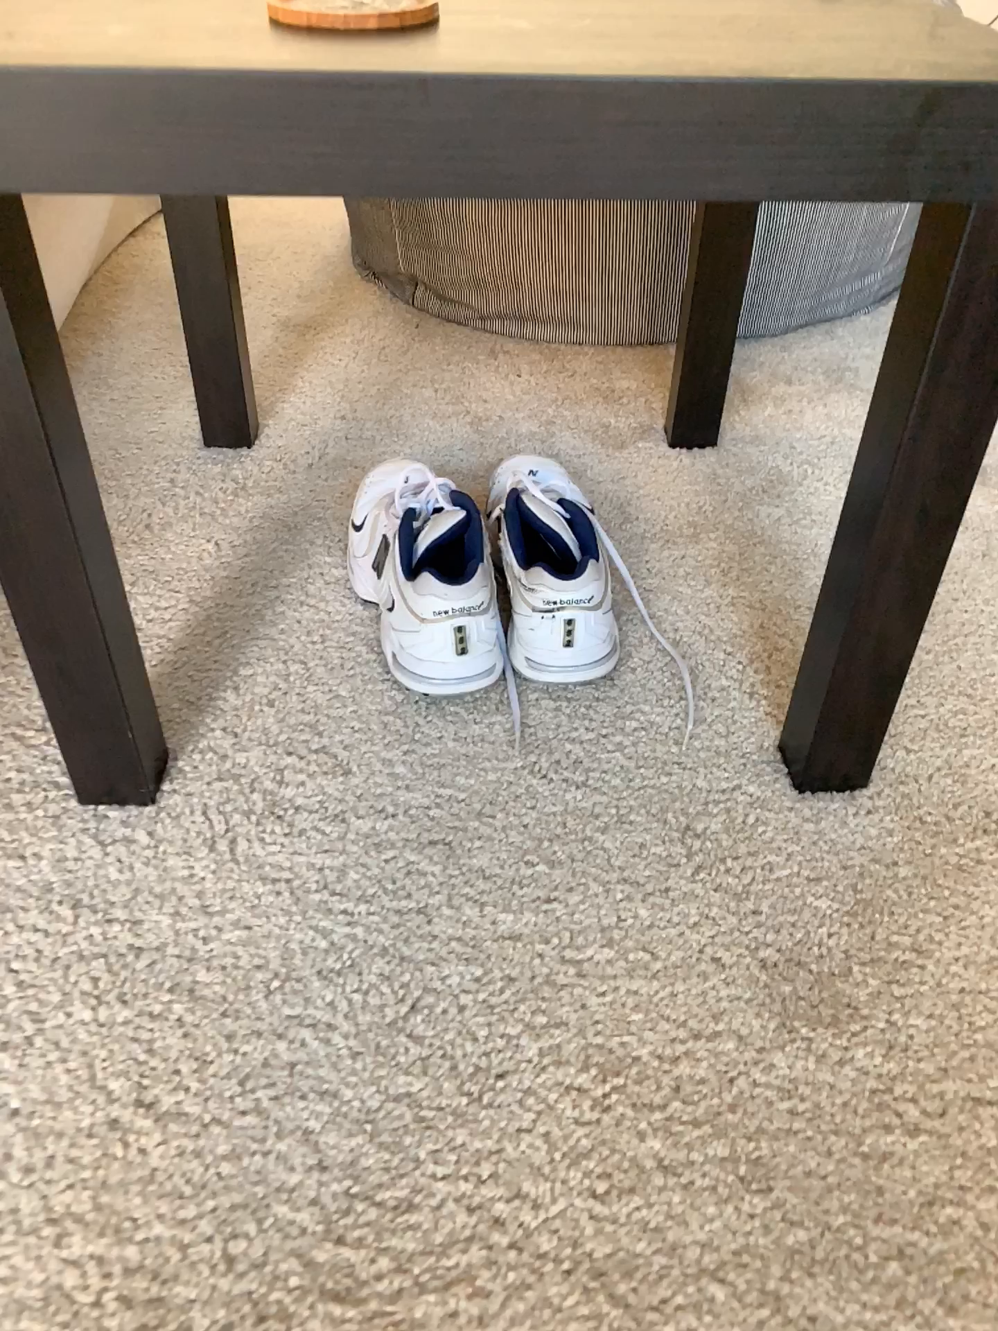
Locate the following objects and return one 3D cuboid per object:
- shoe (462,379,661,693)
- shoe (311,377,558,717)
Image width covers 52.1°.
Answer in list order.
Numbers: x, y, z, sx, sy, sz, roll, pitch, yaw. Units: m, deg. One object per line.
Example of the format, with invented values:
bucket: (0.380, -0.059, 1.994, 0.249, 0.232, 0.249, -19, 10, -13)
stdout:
shoe: (0.037, -0.118, 0.824, 0.110, 0.099, 0.302, -3, 40, -5)
shoe: (-0.061, -0.106, 0.787, 0.110, 0.099, 0.302, -10, 42, -14)
